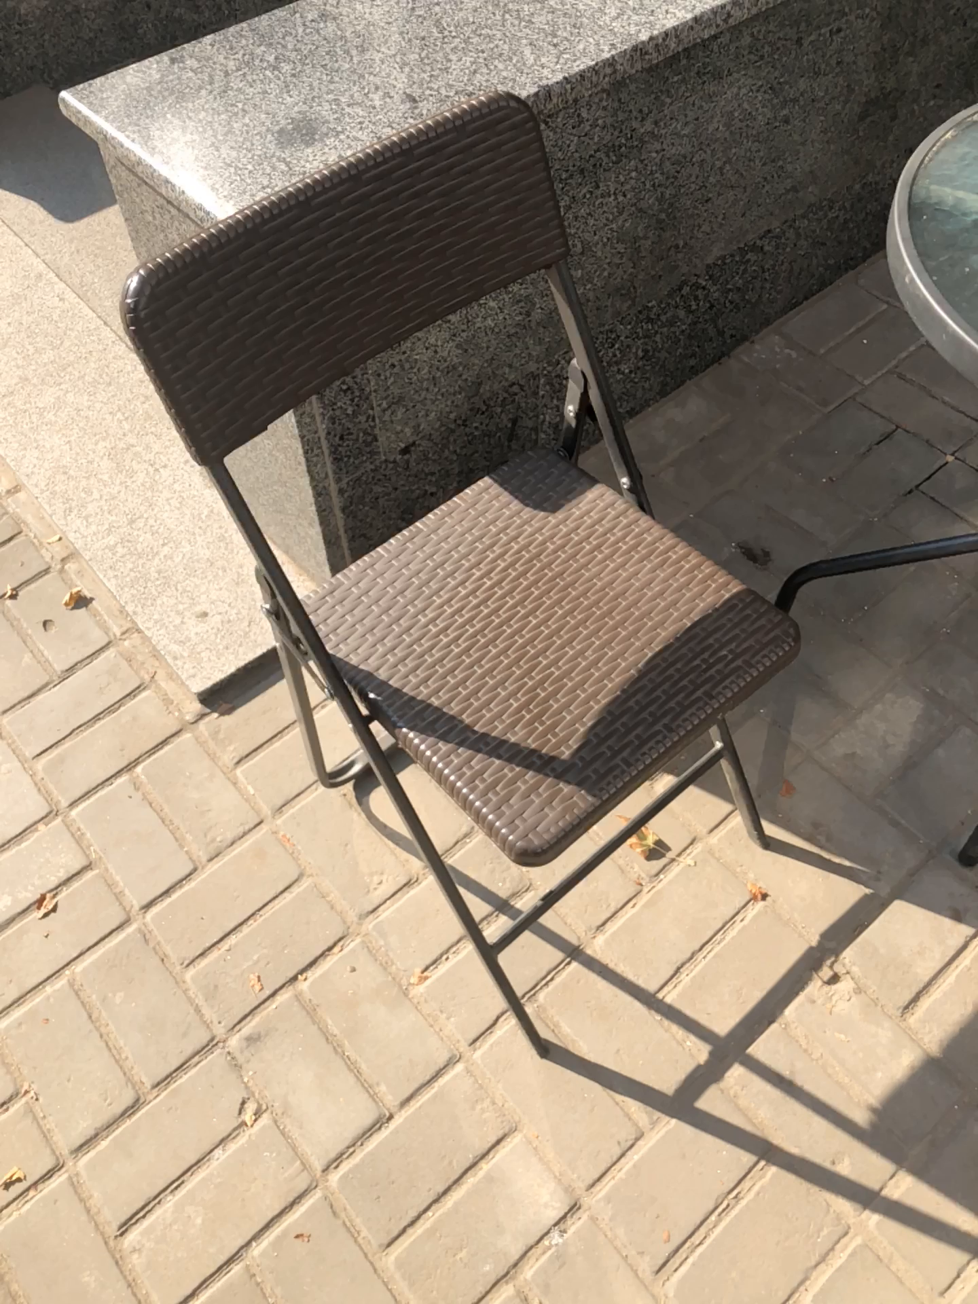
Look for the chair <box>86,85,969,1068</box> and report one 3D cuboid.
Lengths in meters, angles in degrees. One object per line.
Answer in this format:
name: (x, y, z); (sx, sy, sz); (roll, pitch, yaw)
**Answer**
chair: (0.027, -0.024, 1.091); (0.431, 0.778, 0.481); (-36, 60, -22)
